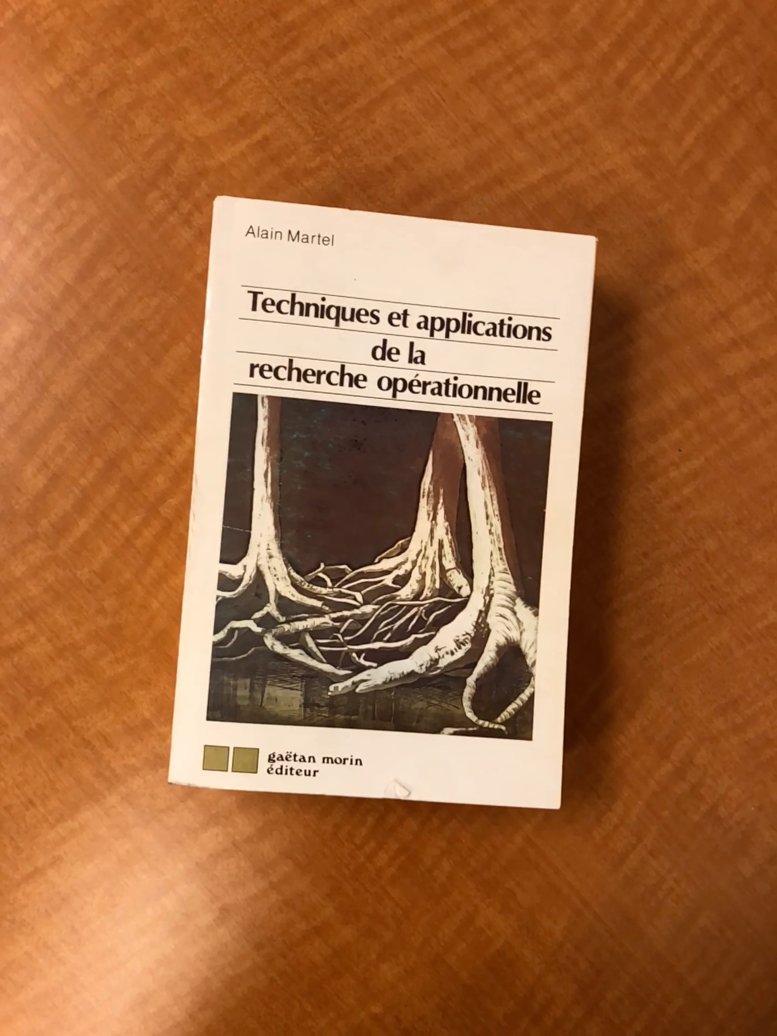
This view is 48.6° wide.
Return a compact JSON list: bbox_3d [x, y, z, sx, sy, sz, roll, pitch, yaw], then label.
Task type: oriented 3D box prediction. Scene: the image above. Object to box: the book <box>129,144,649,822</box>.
[{"bbox_3d":[0.000,-0.010,0.342,0.170,0.070,0.230,4,89,-4],"label":"book"}]
